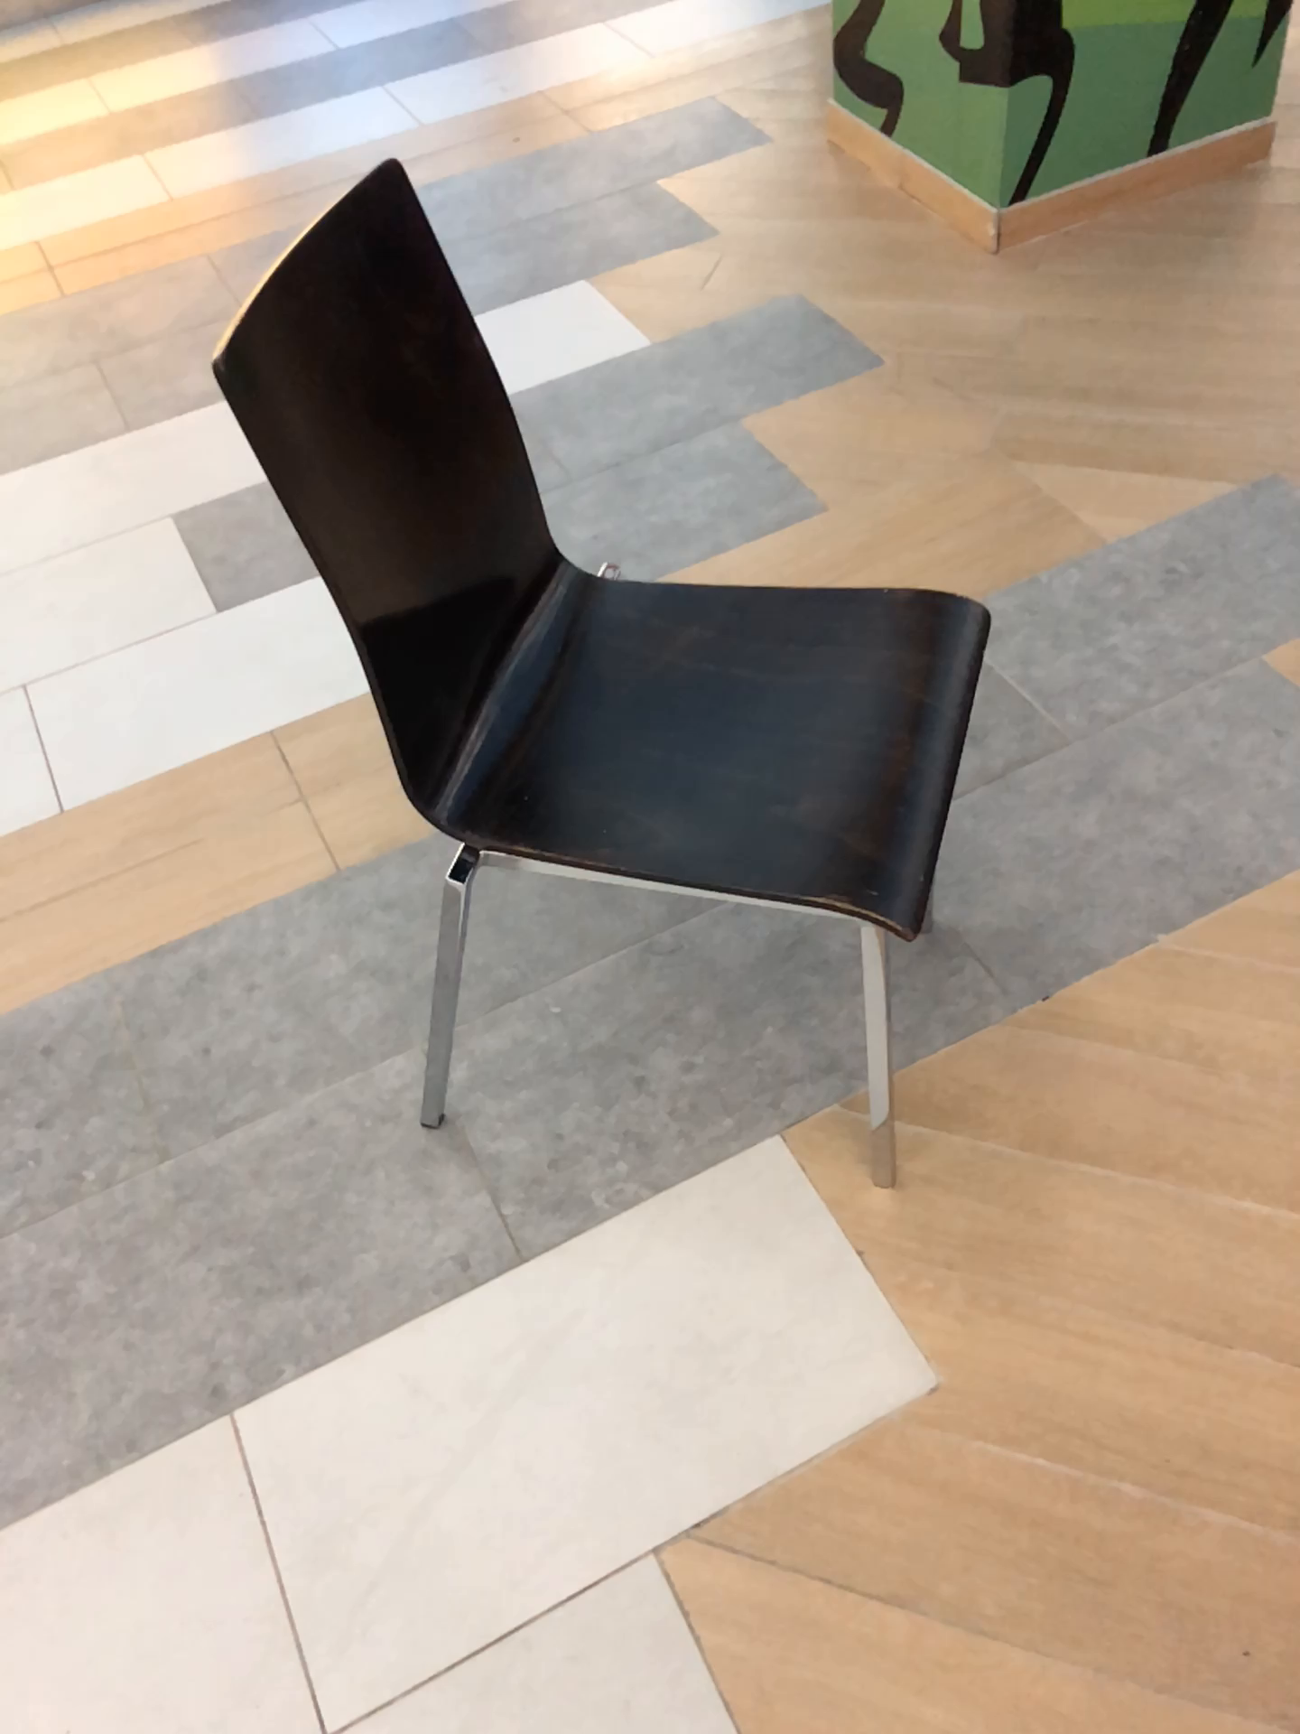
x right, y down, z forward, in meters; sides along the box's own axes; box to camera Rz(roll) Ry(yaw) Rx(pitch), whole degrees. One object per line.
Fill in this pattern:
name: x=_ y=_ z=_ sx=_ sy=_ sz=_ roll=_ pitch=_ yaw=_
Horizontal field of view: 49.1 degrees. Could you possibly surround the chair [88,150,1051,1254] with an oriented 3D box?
chair: x=0.011 y=-0.105 z=1.270 sx=0.542 sy=0.847 sz=0.435 roll=9 pitch=51 yaw=15
